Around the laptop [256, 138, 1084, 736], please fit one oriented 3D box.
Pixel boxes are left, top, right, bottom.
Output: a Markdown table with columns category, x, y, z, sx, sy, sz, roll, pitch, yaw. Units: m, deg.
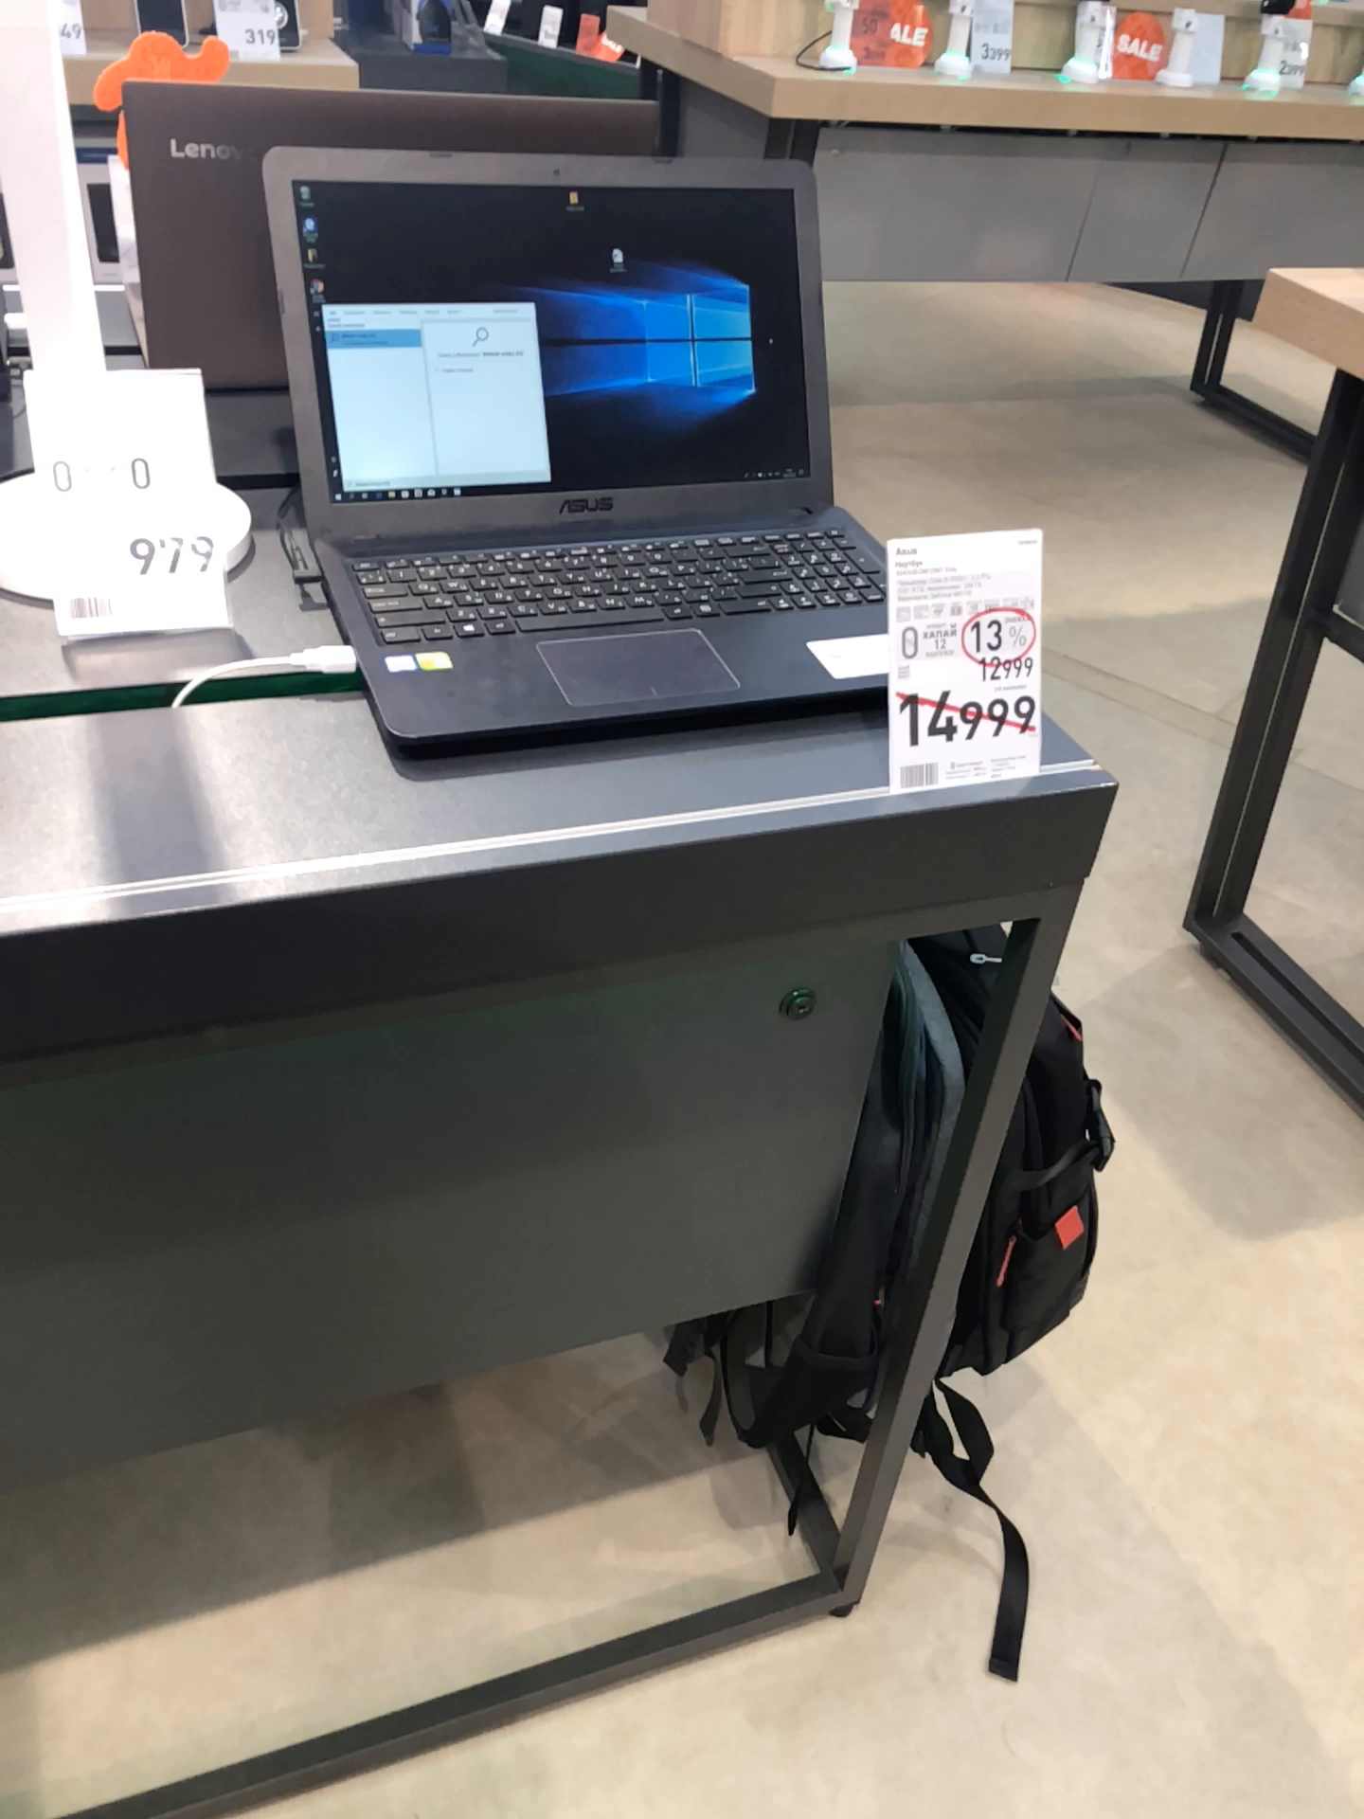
| category | x | y | z | sx | sy | sz | roll | pitch | yaw |
| --- | --- | --- | --- | --- | --- | --- | --- | --- | --- |
| laptop | -0.036 | -0.318 | 0.936 | 0.380 | 0.209 | 0.371 | -9 | 41 | -19 |
